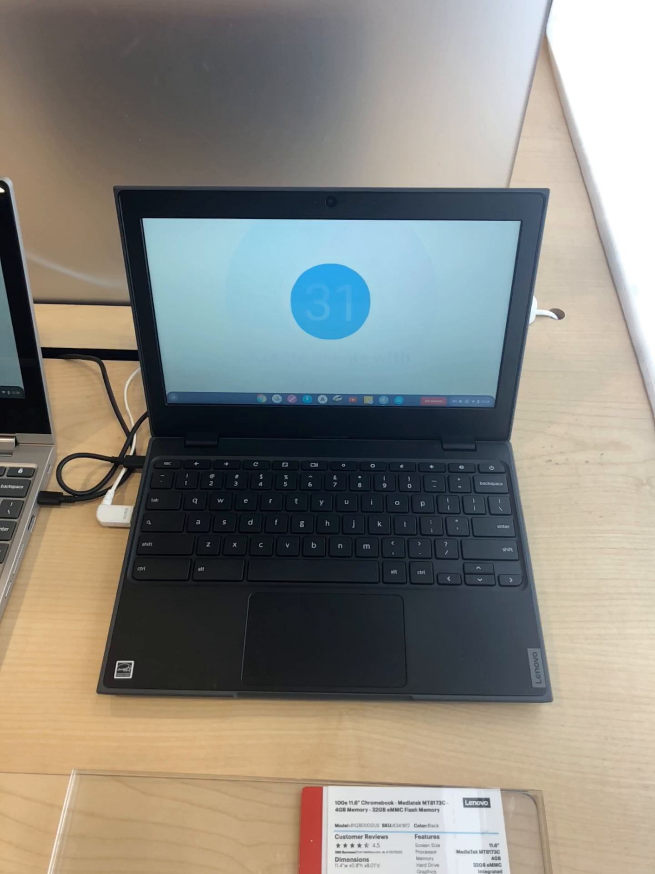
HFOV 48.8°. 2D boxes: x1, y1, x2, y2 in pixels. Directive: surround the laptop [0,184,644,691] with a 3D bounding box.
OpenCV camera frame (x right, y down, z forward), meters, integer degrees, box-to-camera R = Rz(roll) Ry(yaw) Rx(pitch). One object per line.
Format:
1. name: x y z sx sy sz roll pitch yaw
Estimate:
1. laptop: 0.005 -0.004 0.468 0.281 0.179 0.272 0 52 2
